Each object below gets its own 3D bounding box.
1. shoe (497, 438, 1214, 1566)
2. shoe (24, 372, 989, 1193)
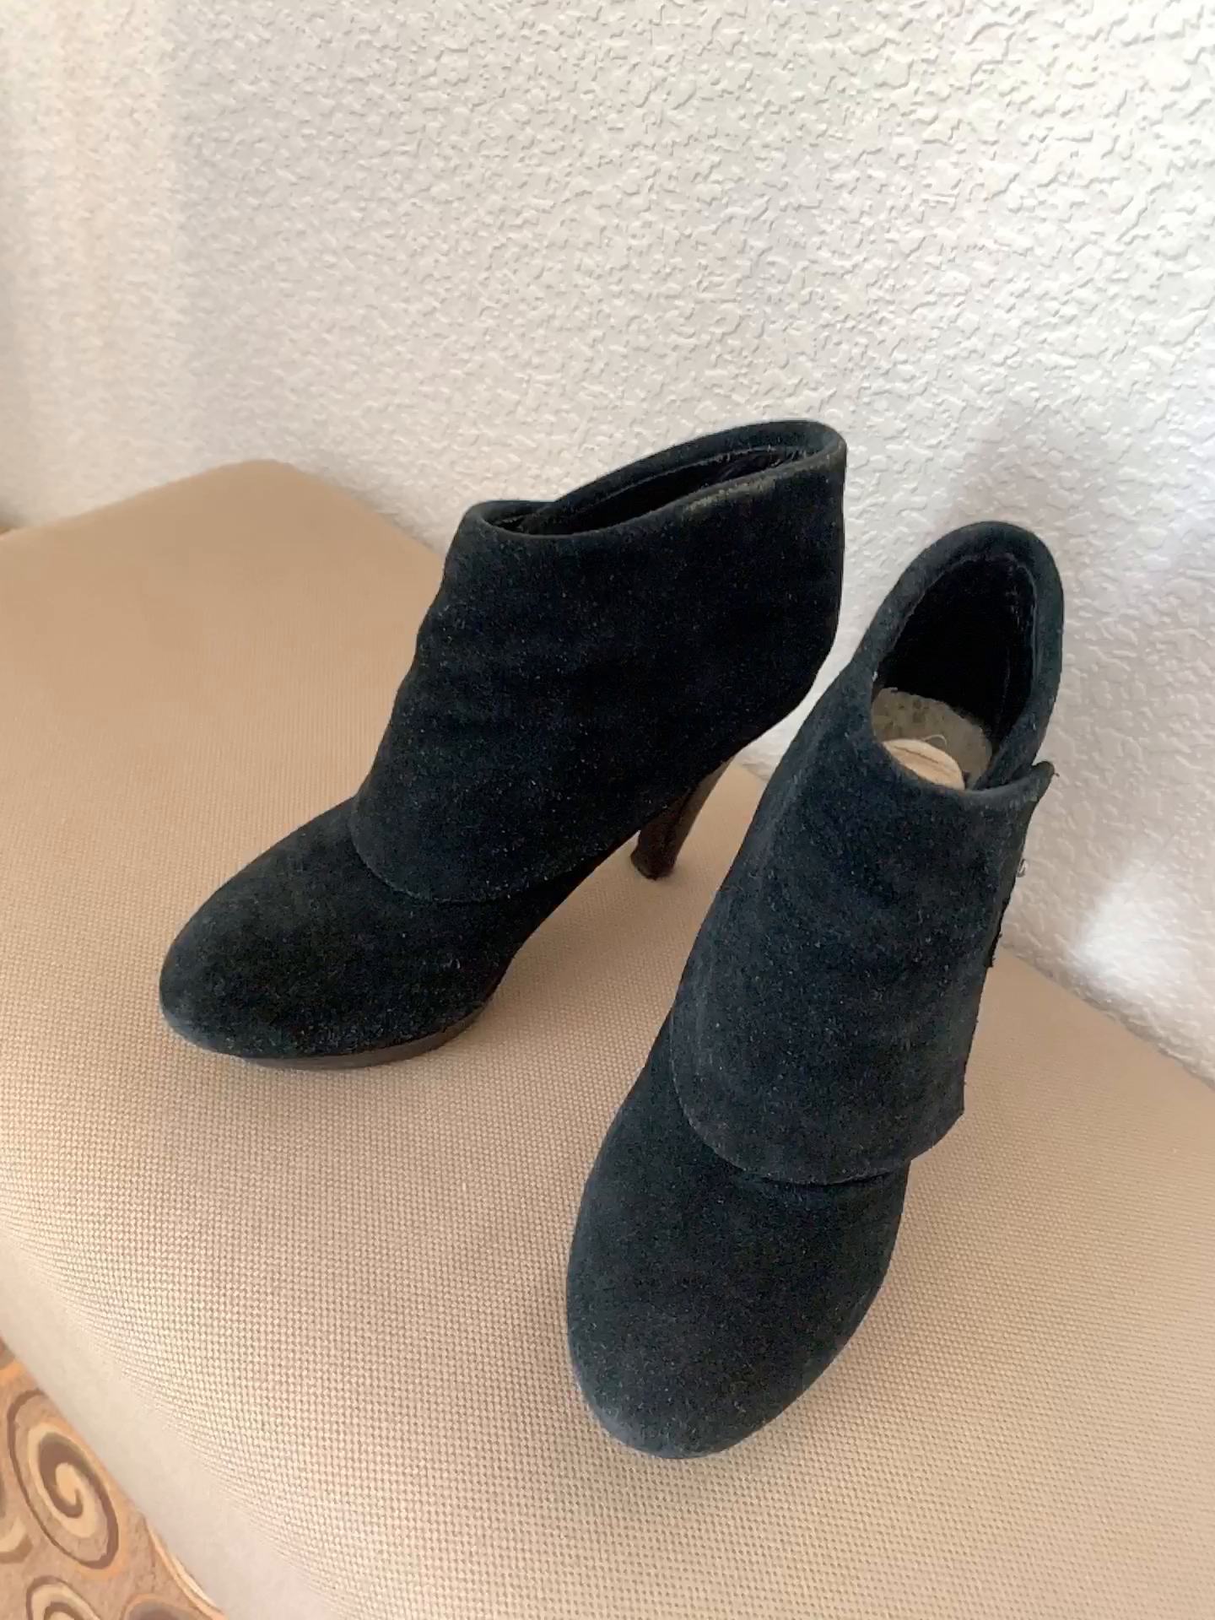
[{"bbox_3d":[0.067,0.040,0.323,0.090,0.166,0.218,22,47,9],"label":"shoe"},{"bbox_3d":[-0.027,-0.013,0.363,0.218,0.166,0.090,-20,54,-28],"label":"shoe"}]
